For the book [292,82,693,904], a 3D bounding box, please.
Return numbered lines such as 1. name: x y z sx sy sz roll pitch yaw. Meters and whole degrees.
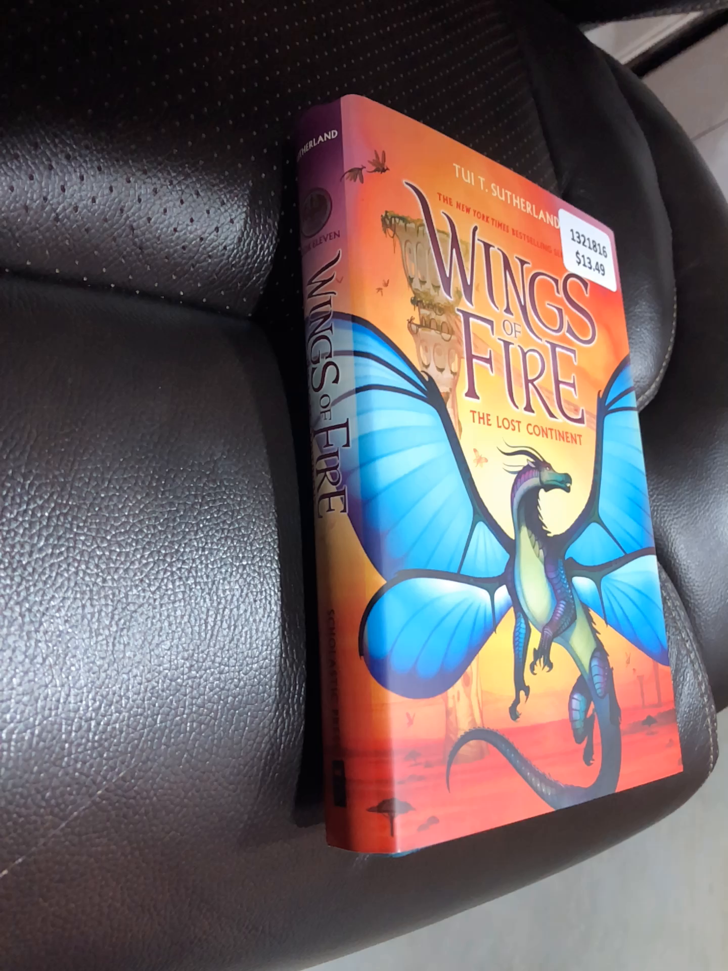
1. book: 0.047 0.001 0.271 0.148 0.030 0.218 8 75 -41
